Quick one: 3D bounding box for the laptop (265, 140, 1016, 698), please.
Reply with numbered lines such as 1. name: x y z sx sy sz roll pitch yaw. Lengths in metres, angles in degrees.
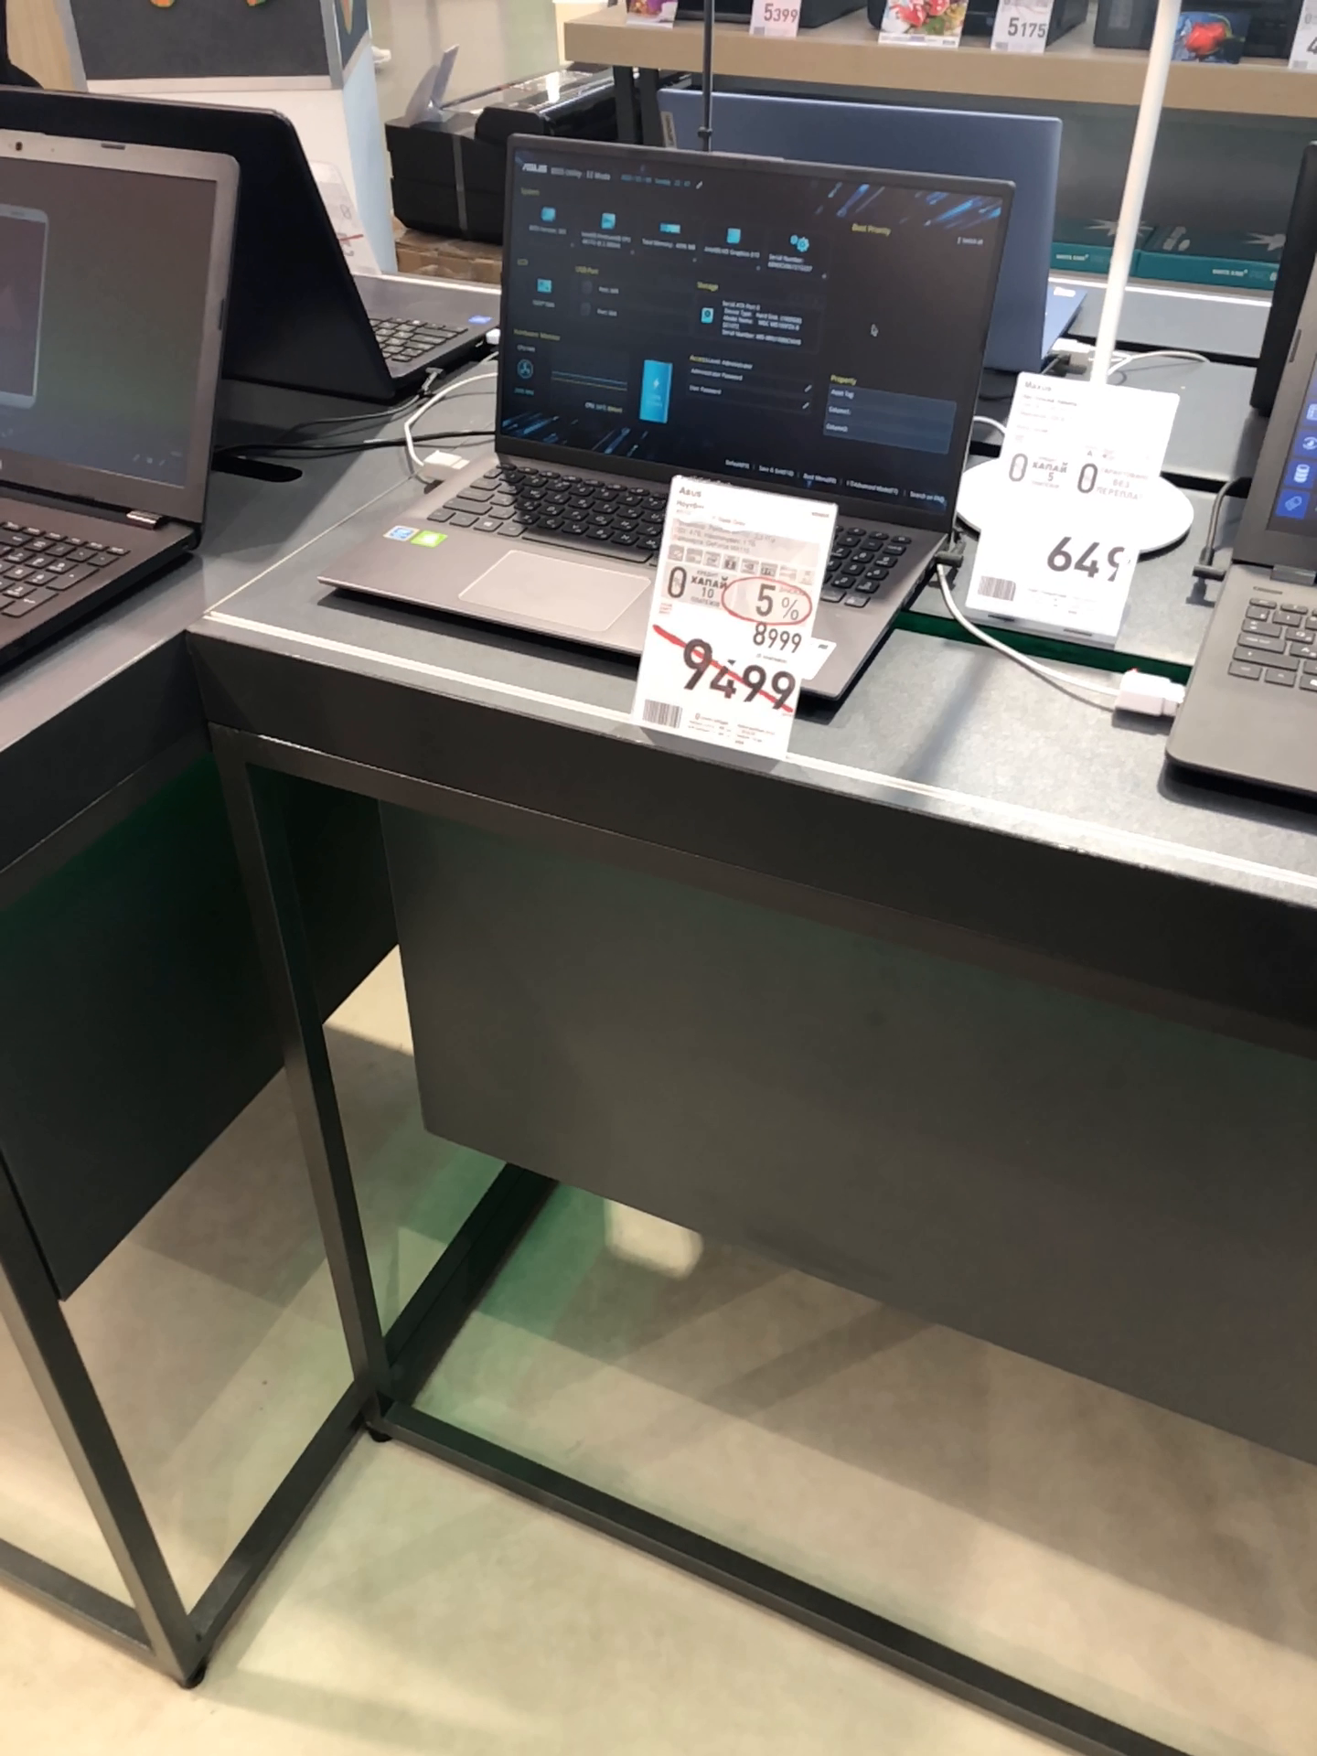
1. laptop: -0.002 -0.307 0.900 0.355 0.200 0.288 16 42 22
